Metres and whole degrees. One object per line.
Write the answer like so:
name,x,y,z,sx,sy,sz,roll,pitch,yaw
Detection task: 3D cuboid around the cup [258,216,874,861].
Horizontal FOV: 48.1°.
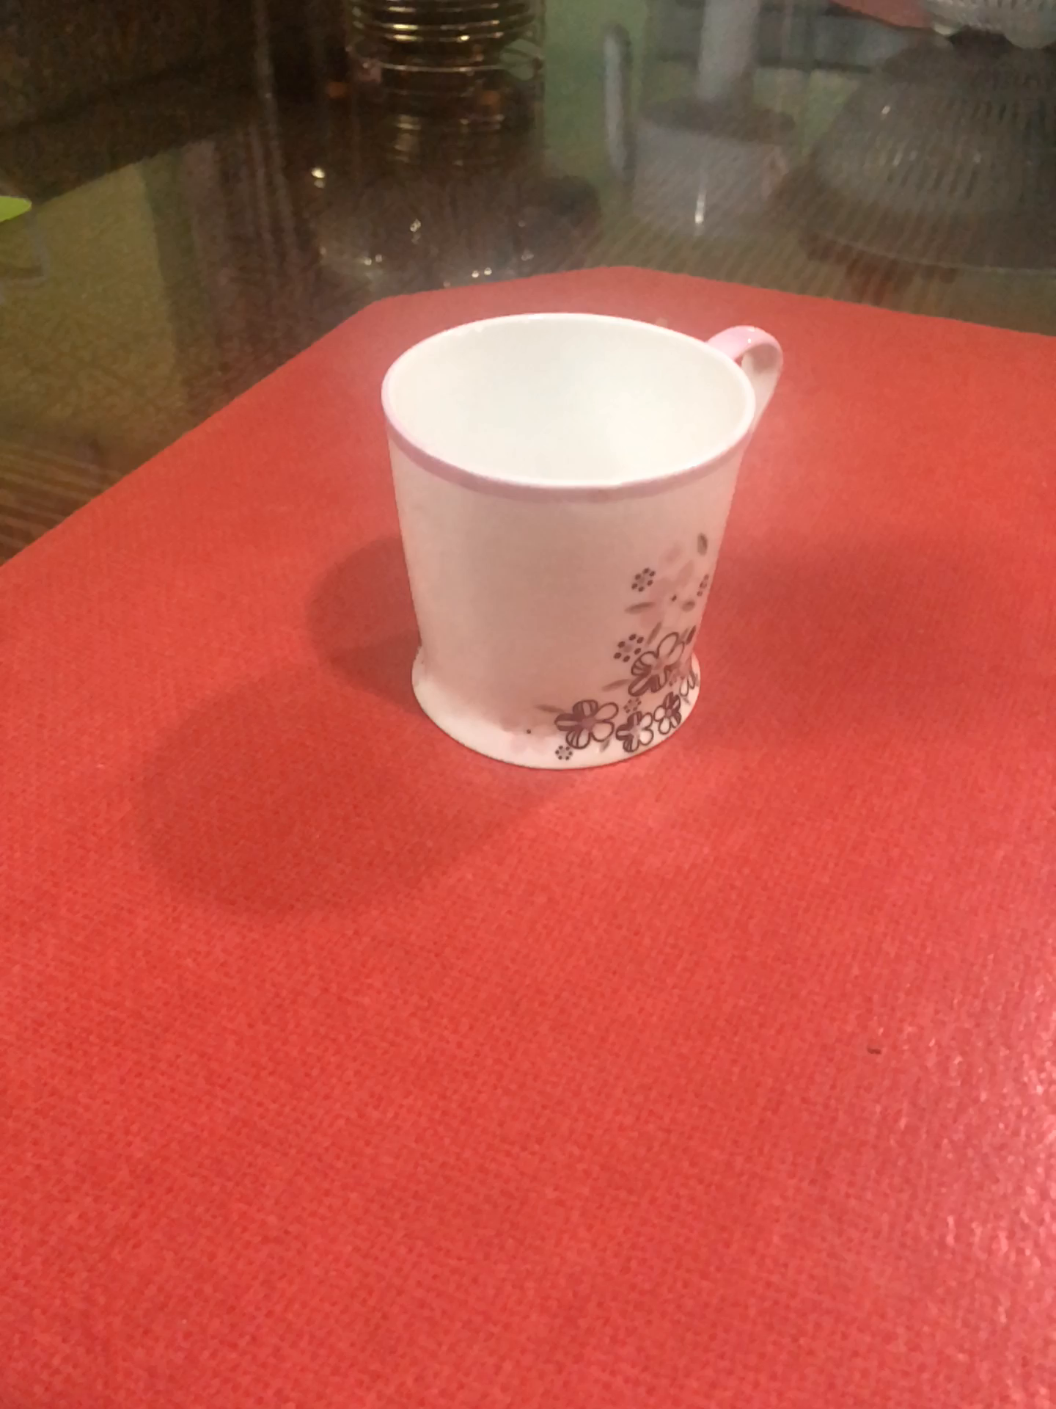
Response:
cup,0.011,-0.040,0.246,0.070,0.080,0.100,26,46,27
